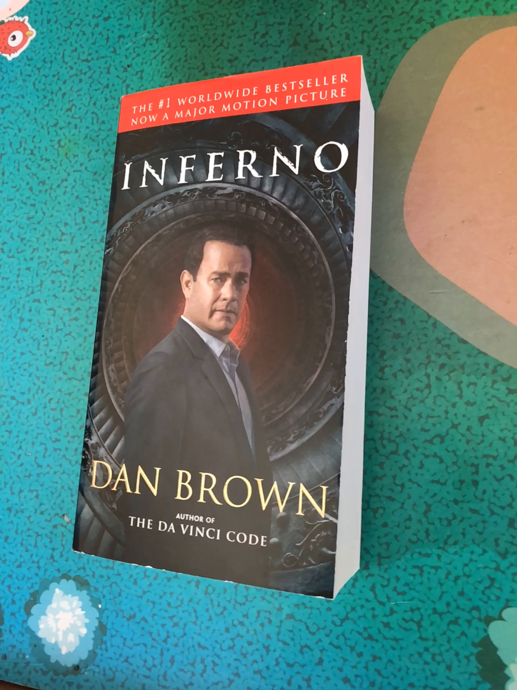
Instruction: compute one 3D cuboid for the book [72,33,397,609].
[{"bbox_3d":[-0.004,-0.012,0.244,0.110,0.060,0.200,2,83,20],"label":"book"}]
